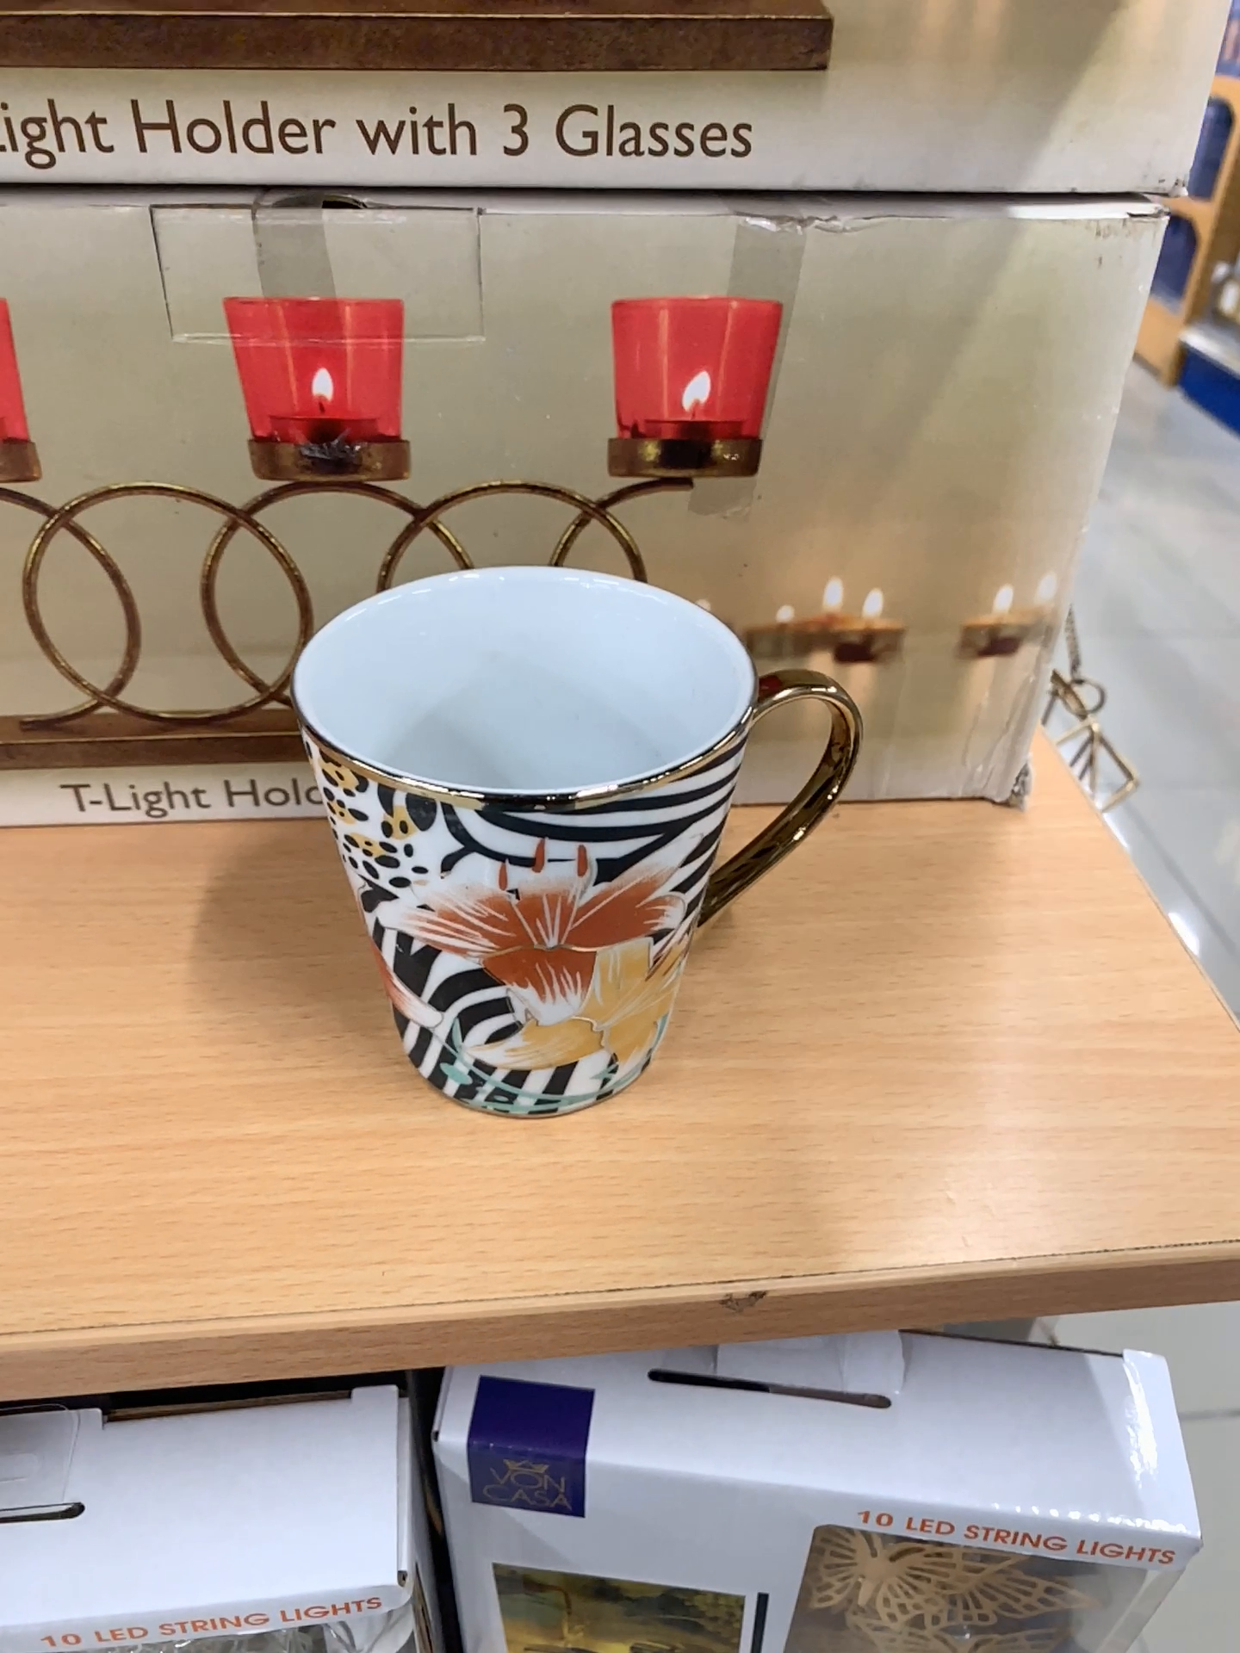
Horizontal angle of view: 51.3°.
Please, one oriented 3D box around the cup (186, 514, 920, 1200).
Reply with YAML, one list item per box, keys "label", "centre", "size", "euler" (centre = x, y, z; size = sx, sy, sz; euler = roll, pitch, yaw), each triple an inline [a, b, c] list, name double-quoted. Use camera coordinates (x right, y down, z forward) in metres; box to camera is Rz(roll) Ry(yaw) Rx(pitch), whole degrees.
- label: "cup"
  centre: [-0.016, 0.000, 0.229]
  size: [0.100, 0.080, 0.070]
  euler: [-10, 38, -18]
